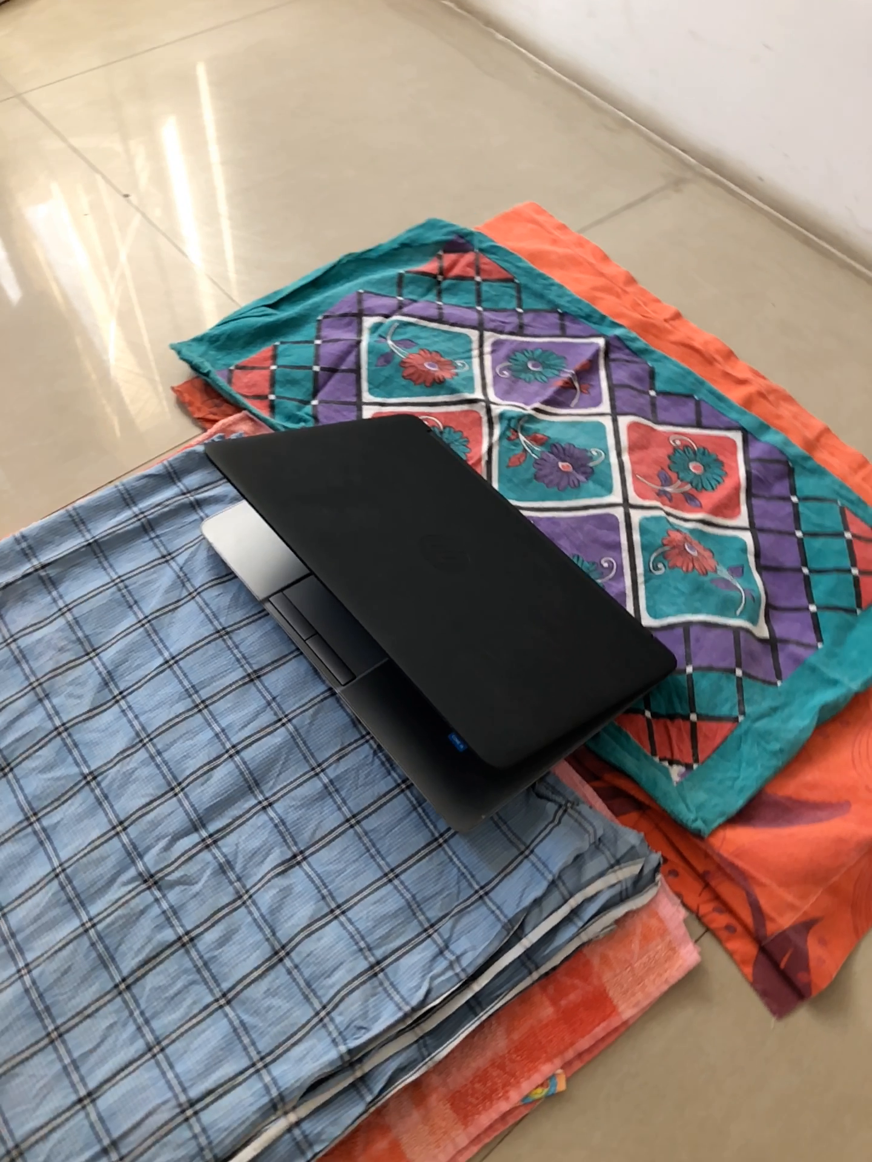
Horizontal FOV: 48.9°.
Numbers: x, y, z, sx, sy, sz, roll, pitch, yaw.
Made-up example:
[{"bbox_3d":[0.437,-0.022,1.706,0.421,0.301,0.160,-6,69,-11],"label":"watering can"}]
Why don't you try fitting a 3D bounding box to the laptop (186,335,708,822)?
[{"bbox_3d":[0.004,-0.019,0.719,0.213,0.099,0.322,-32,66,-28],"label":"laptop"}]
